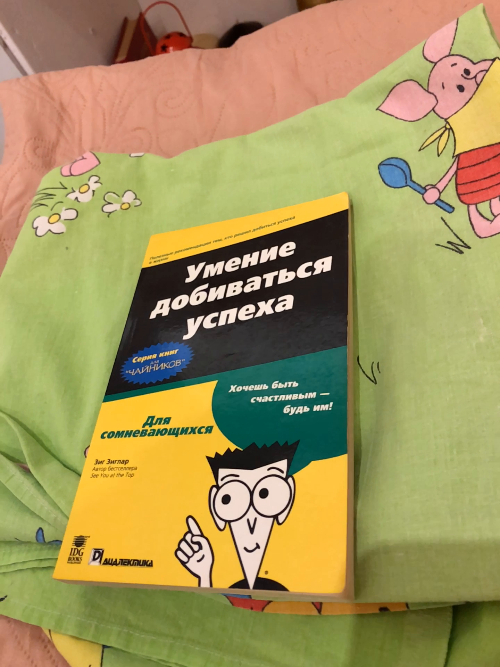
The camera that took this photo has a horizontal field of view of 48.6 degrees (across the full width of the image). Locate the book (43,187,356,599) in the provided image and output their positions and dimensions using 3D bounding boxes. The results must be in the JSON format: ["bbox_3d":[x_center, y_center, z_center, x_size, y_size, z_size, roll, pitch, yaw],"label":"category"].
[{"bbox_3d":[-0.014,0.016,0.261,0.125,0.015,0.192,-8,53,21],"label":"book"}]
